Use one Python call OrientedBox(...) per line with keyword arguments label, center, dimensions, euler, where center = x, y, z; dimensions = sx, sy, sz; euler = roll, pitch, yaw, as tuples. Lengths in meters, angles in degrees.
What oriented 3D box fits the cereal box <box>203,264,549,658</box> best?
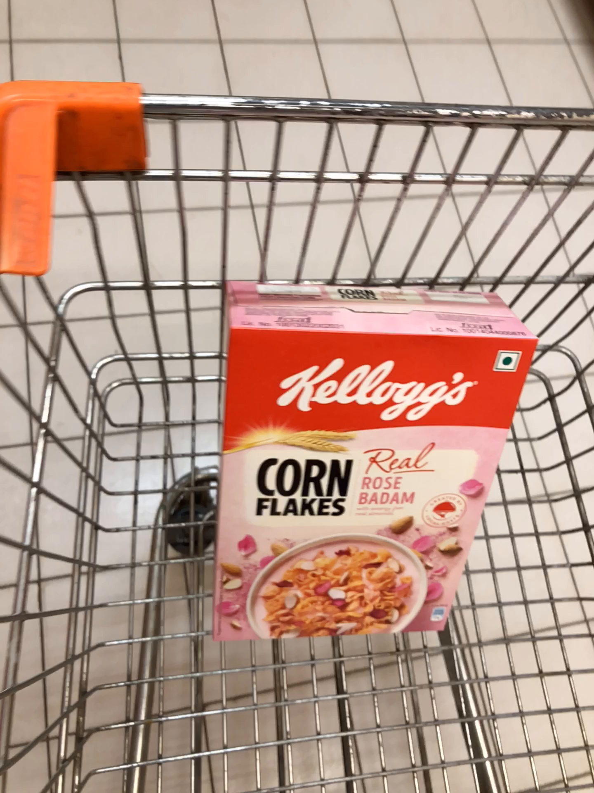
OrientedBox(label="cereal box", center=(0.031, 0.053, 0.447), dimensions=(0.180, 0.259, 0.080), euler=(1, 31, -10))
